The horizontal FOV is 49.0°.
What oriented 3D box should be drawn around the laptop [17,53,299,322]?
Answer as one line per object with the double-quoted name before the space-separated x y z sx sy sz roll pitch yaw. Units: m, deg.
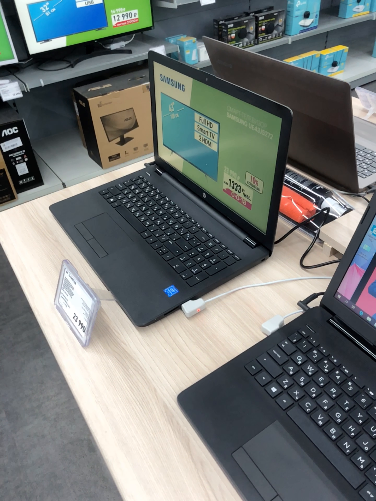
"laptop" -0.063 -0.136 0.675 0.273 0.222 0.363 -25 44 -23
